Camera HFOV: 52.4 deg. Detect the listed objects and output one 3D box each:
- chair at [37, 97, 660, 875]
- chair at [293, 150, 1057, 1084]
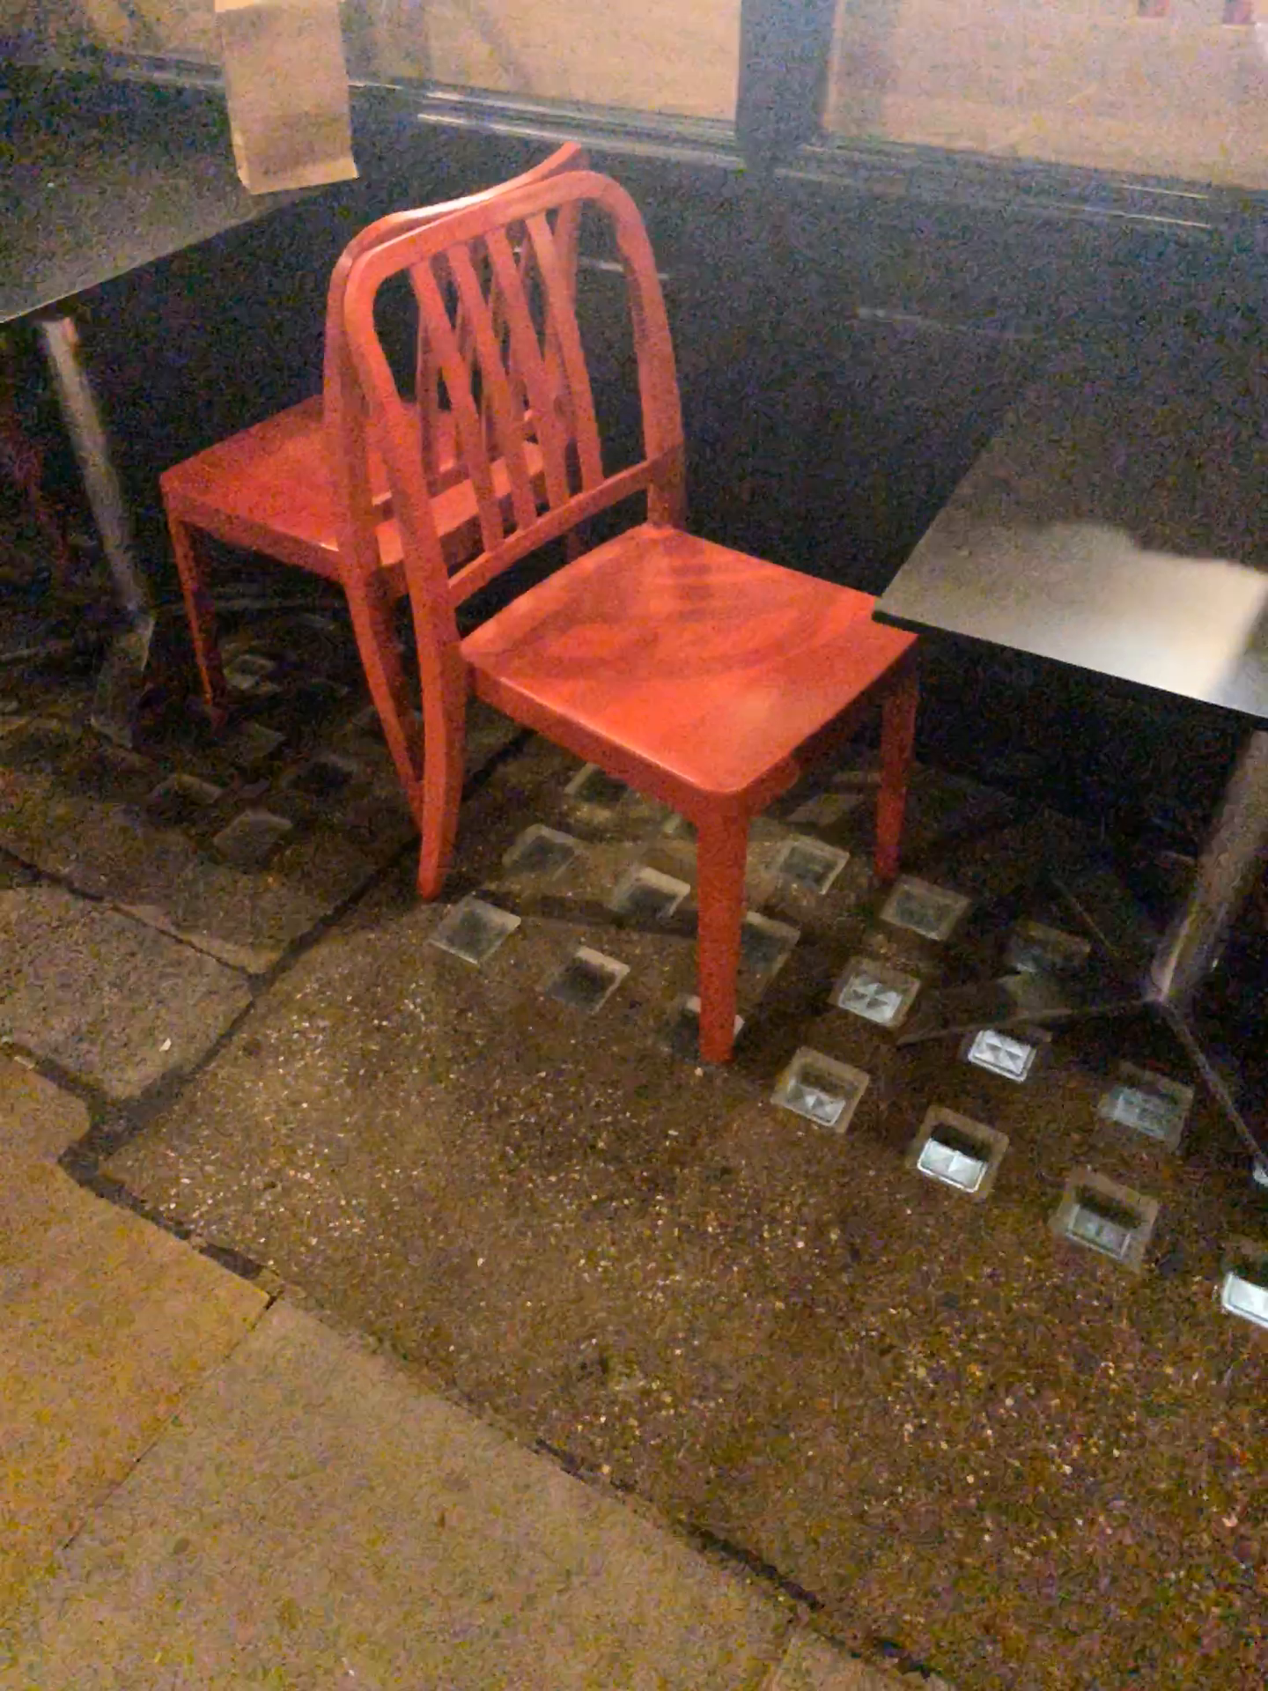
[{"bbox_3d":[-0.338,-0.526,1.871,0.542,0.851,0.544,21,44,23],"label":"chair"},{"bbox_3d":[0.058,-0.294,1.592,0.562,0.851,0.574,24,45,26],"label":"chair"}]
